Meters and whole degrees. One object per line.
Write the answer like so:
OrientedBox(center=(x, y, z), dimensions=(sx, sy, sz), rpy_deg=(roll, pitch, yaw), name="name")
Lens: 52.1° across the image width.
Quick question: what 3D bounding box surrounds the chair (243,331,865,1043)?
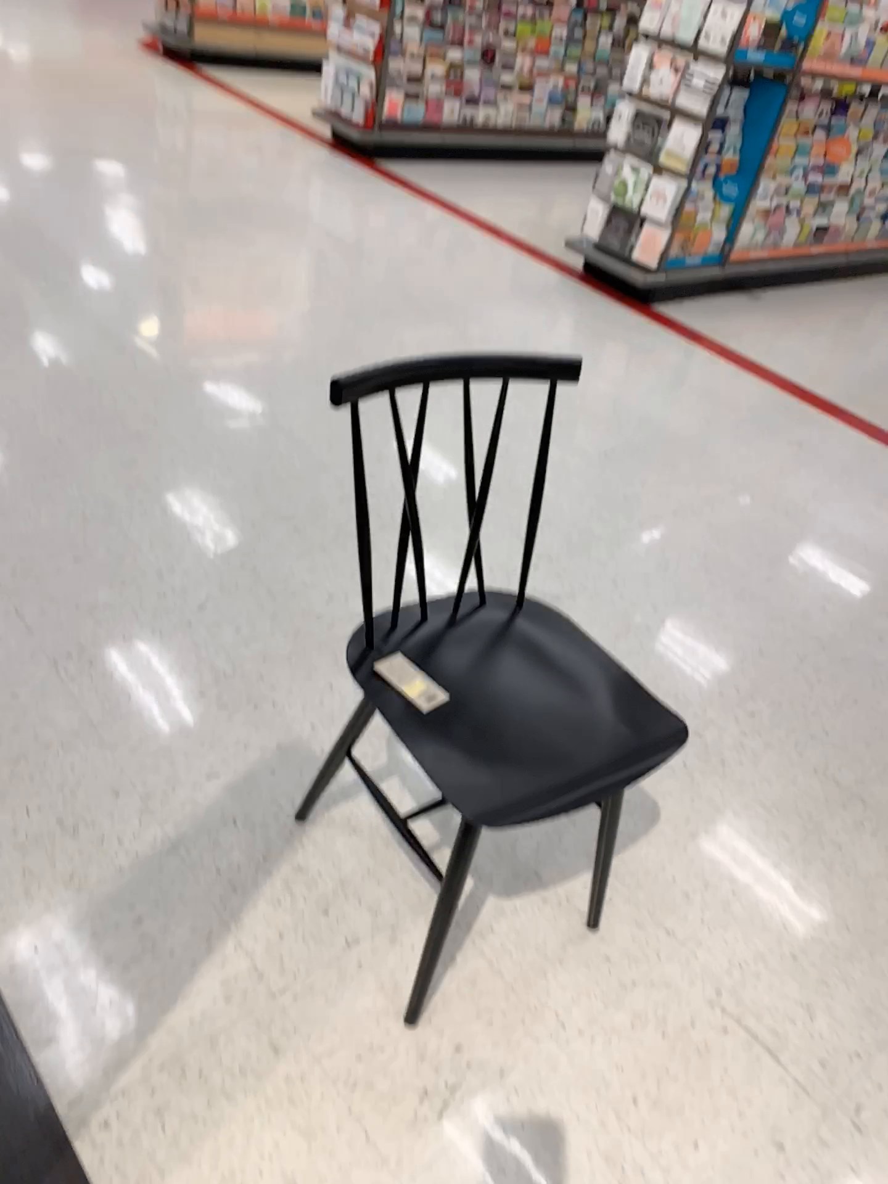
OrientedBox(center=(0.074, 0.106, 1.279), dimensions=(0.482, 0.736, 0.521), rpy_deg=(-15, 45, -34), name="chair")
